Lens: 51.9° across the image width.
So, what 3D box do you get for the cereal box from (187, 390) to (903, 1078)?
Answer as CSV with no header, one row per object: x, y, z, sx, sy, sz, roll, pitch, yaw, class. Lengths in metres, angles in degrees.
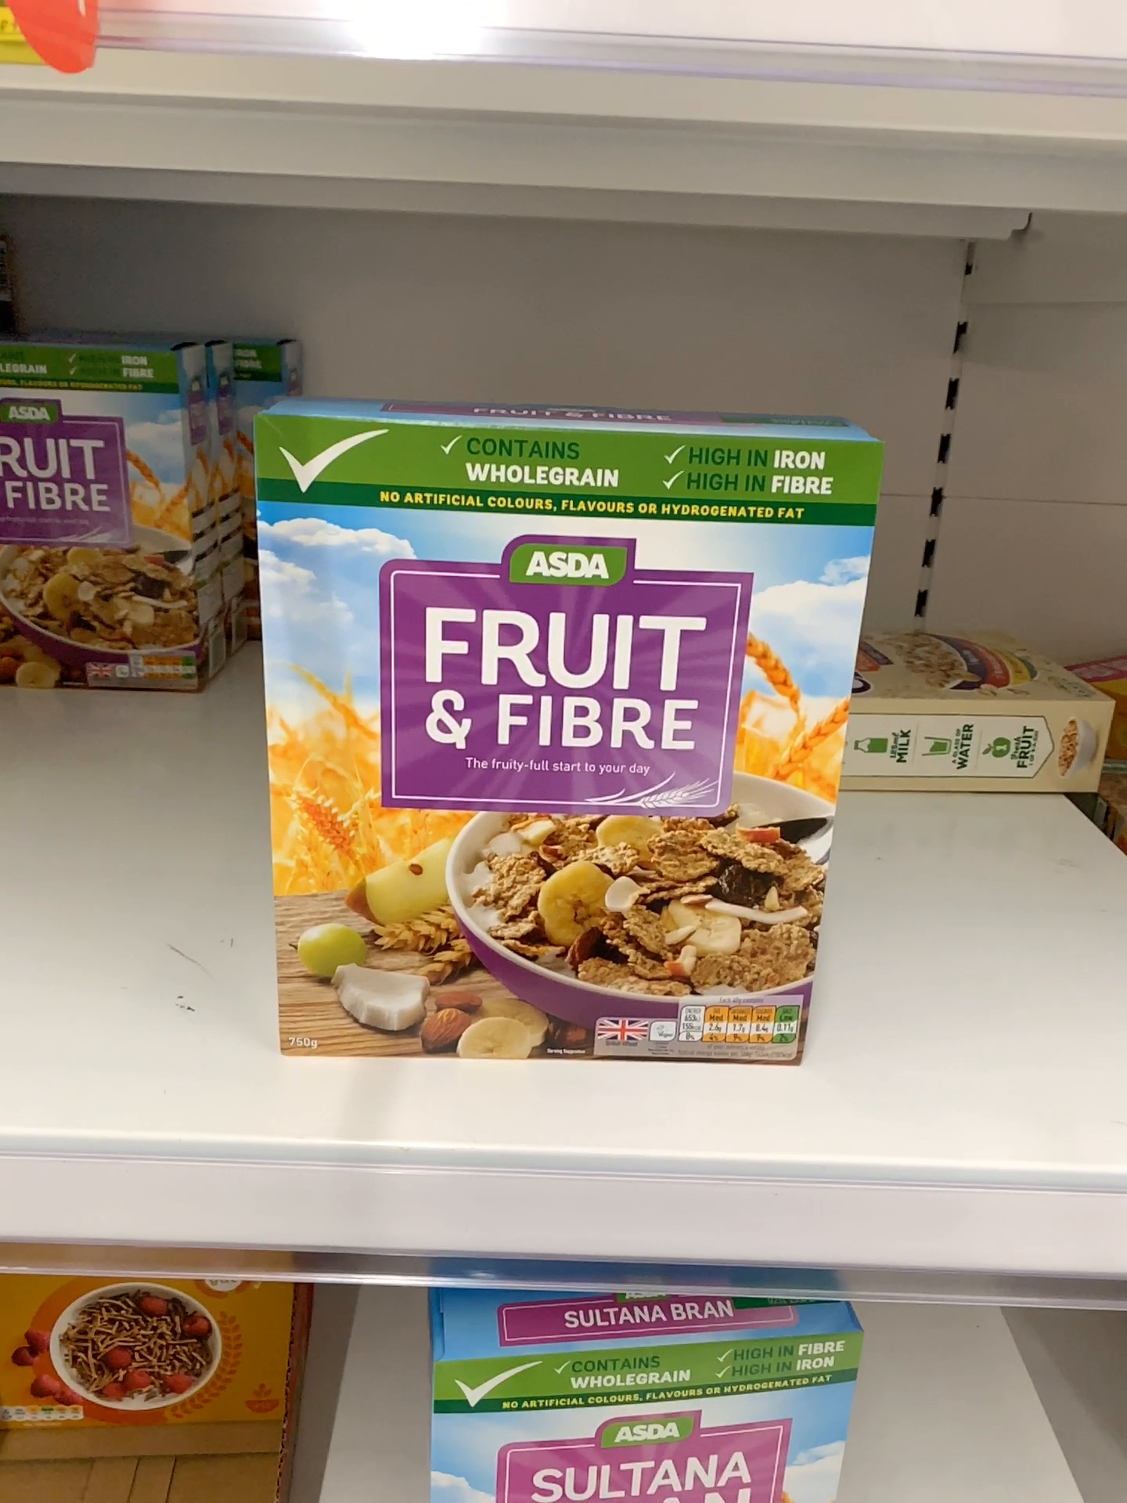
-0.010,-0.005,0.466,0.240,0.258,0.081,1,18,-2,cereal box
